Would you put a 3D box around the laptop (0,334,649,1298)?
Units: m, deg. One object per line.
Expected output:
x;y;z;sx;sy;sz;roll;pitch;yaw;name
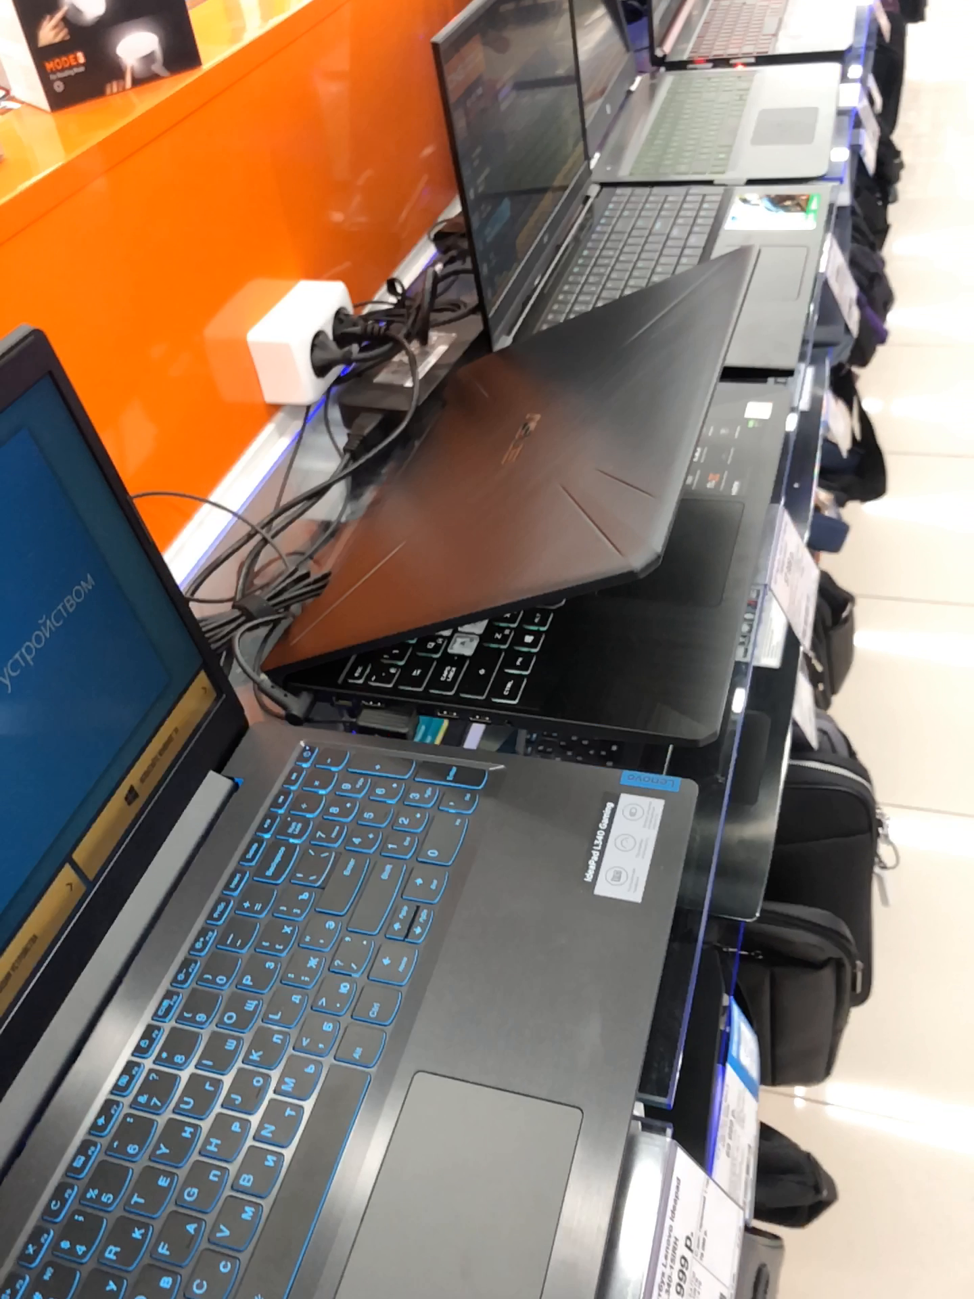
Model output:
-0.125;0.081;0.366;0.283;0.235;0.358;6;42;17;laptop

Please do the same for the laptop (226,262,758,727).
0.032;-0.125;0.684;0.239;0.107;0.348;6;42;17;laptop
